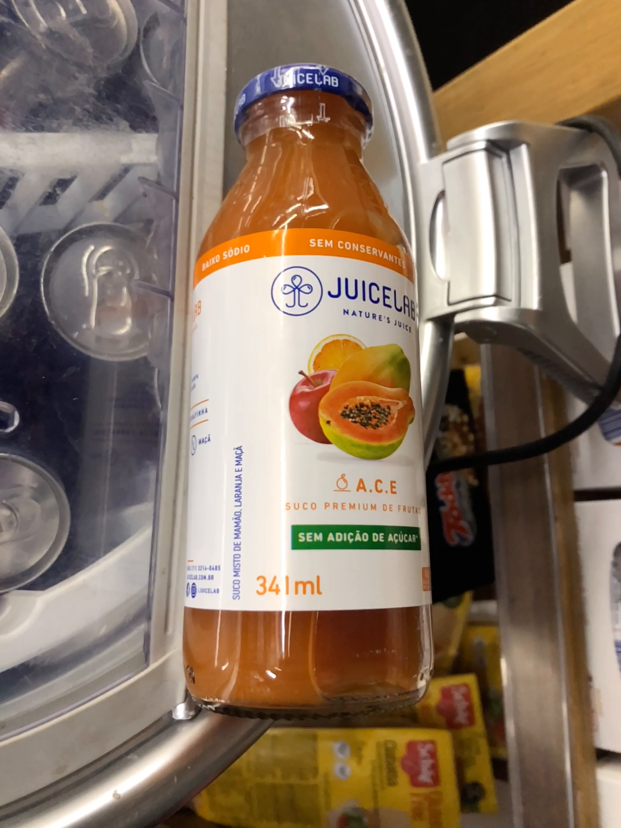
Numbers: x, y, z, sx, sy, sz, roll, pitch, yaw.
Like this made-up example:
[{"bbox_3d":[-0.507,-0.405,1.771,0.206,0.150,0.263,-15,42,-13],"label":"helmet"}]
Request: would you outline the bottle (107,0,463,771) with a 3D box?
[{"bbox_3d":[-0.004,-0.019,0.187,0.070,0.050,0.190,9,76,-32],"label":"bottle"}]
